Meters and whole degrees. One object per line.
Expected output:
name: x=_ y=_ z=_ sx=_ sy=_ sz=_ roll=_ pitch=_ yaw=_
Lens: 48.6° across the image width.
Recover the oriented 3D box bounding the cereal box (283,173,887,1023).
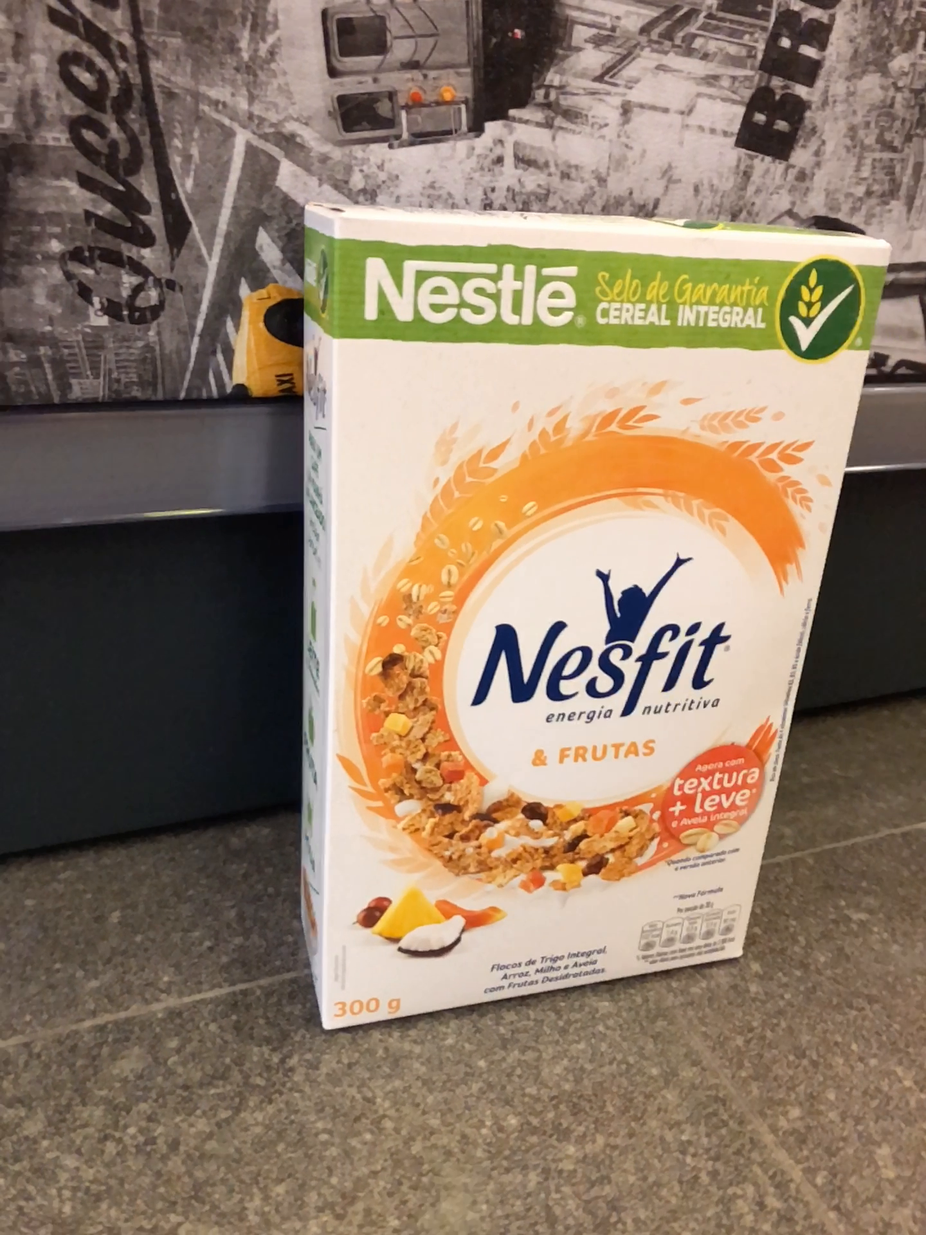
cereal box: x=0.024 y=-0.003 z=0.331 sx=0.150 sy=0.248 sz=0.070 roll=-4 pitch=25 yaw=-17
